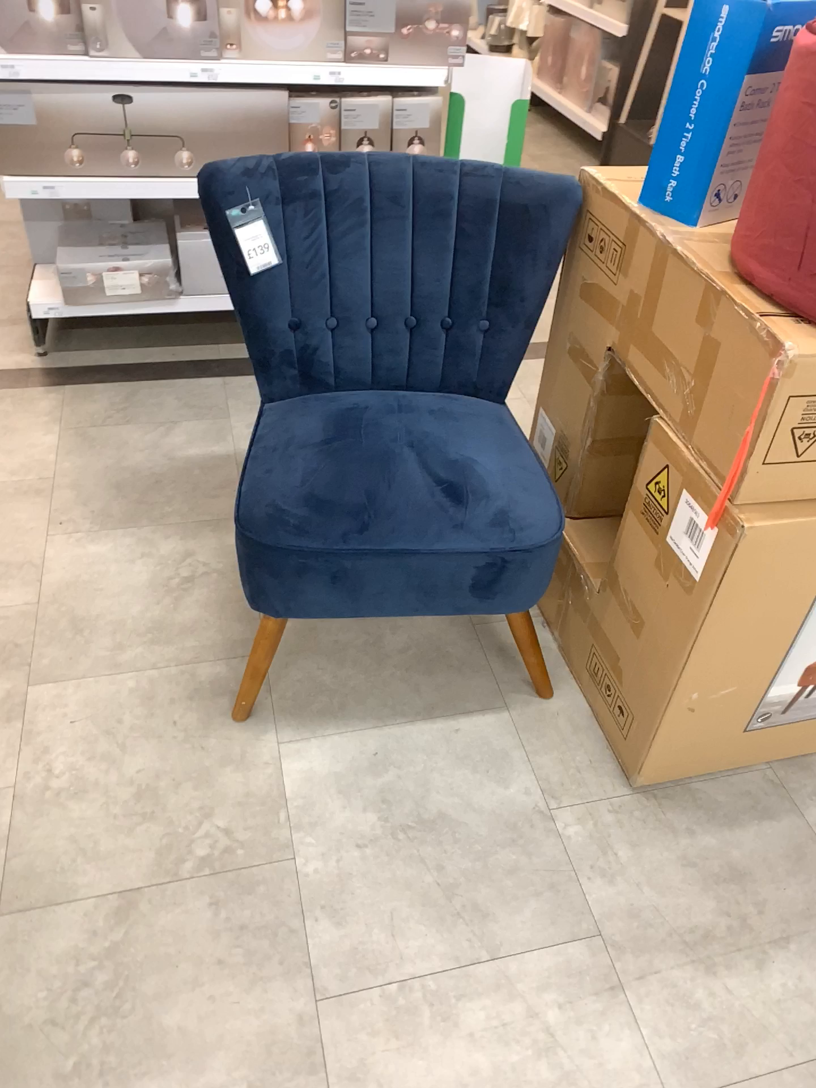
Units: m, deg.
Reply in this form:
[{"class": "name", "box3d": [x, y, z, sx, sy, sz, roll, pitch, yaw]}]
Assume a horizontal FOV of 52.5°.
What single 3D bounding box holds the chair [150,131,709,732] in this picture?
[{"class": "chair", "box3d": [-0.037, -0.222, 1.529, 0.690, 0.792, 0.727, -2, 41, -9]}]
